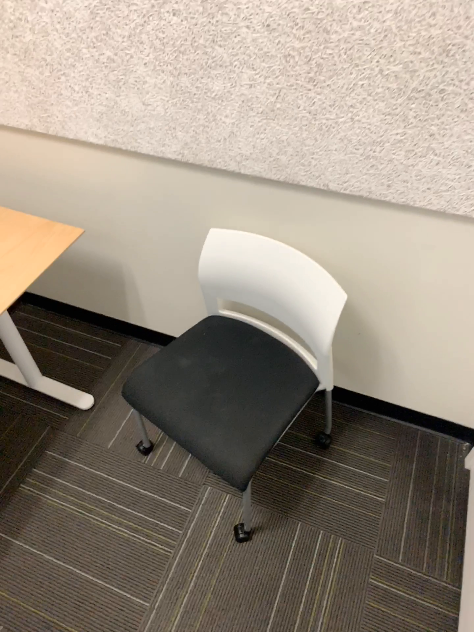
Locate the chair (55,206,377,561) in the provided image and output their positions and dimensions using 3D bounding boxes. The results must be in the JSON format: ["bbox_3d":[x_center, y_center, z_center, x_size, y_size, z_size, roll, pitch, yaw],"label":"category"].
[{"bbox_3d":[-0.038,0.206,1.455,0.582,0.736,0.541,30,56,26],"label":"chair"}]
